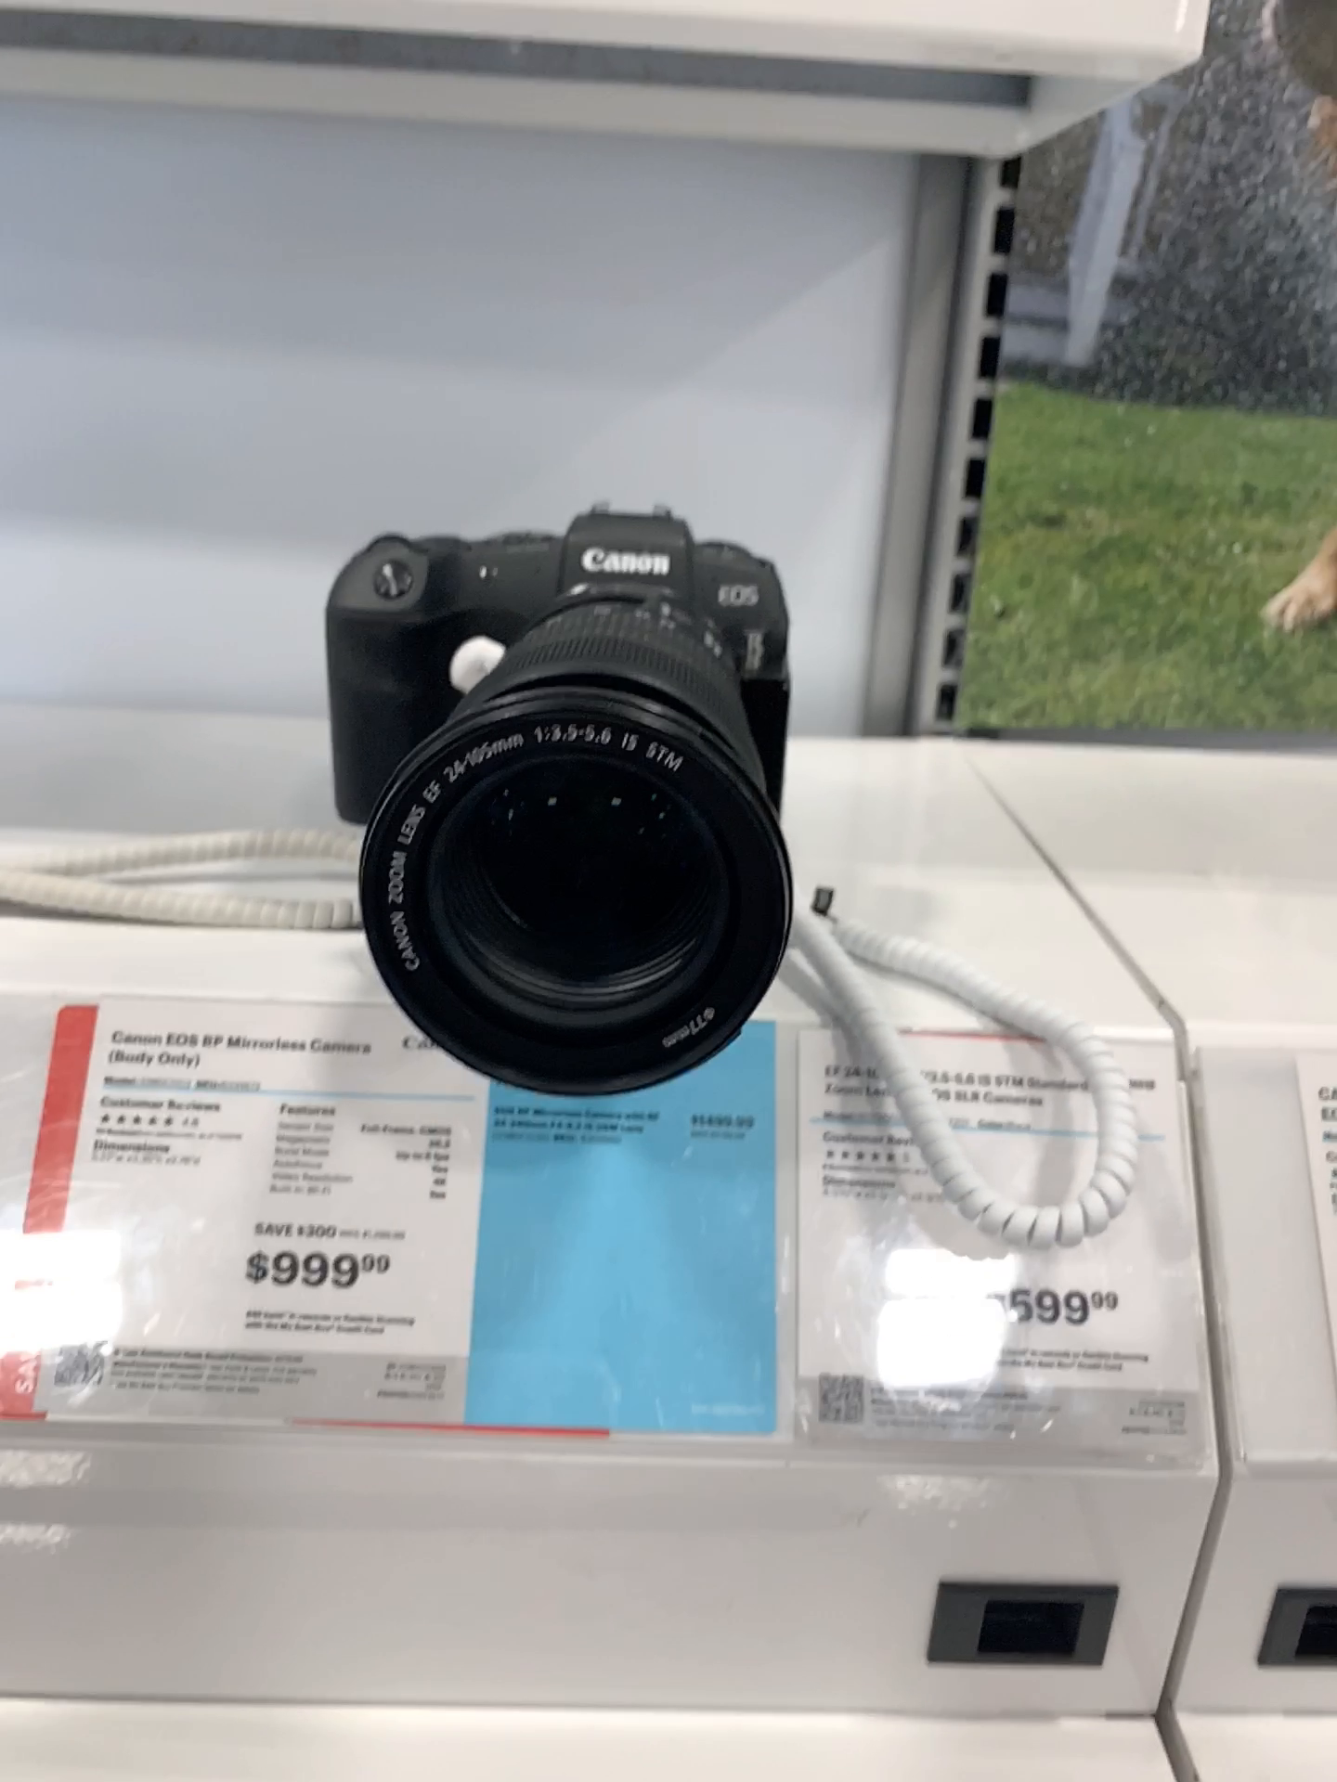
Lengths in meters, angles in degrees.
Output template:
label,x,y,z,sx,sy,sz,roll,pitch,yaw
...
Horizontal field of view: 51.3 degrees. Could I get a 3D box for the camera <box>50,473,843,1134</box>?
label,x,y,z,sx,sy,sz,roll,pitch,yaw
camera,-0.035,-0.040,0.341,0.132,0.100,0.200,2,21,1
